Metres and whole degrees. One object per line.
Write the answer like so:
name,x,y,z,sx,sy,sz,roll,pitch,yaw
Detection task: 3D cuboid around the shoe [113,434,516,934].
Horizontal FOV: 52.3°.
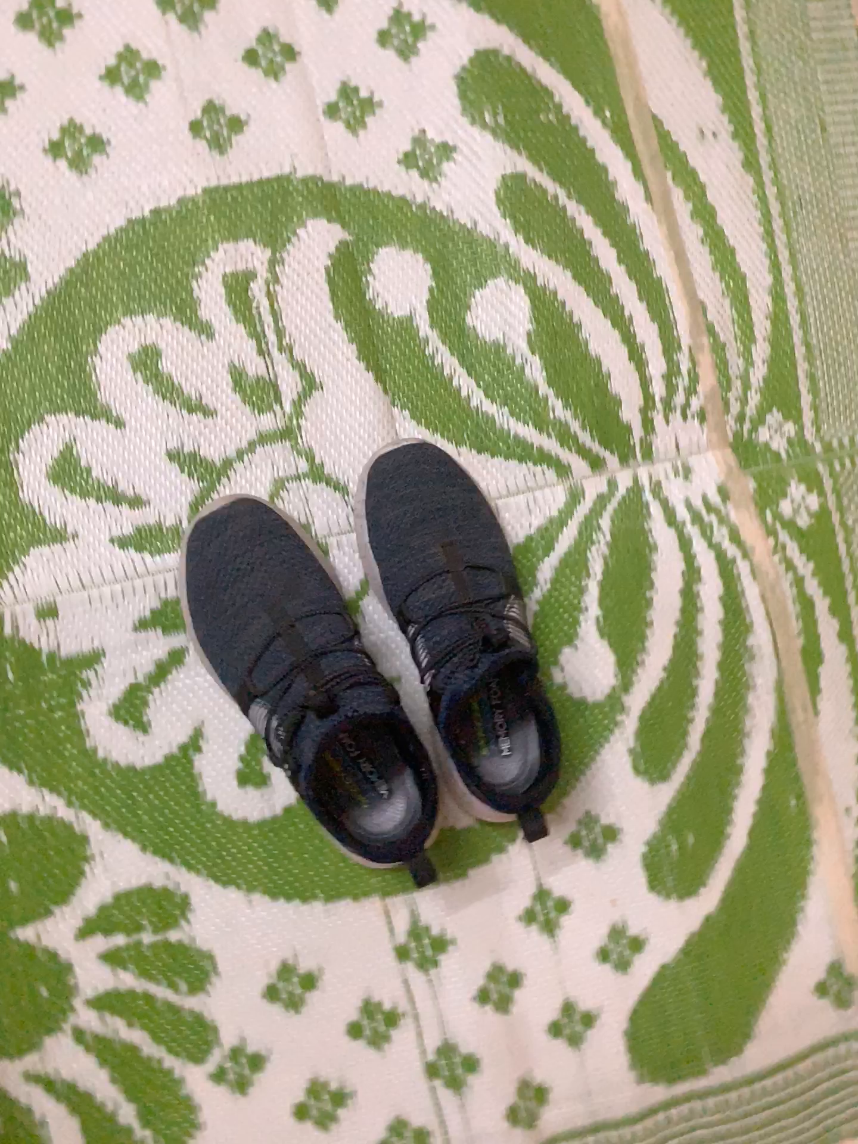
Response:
shoe,-0.074,0.070,0.582,0.110,0.100,0.290,-32,95,-10

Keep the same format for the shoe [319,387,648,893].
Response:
shoe,0.031,0.043,0.602,0.110,0.100,0.300,-21,93,-11
